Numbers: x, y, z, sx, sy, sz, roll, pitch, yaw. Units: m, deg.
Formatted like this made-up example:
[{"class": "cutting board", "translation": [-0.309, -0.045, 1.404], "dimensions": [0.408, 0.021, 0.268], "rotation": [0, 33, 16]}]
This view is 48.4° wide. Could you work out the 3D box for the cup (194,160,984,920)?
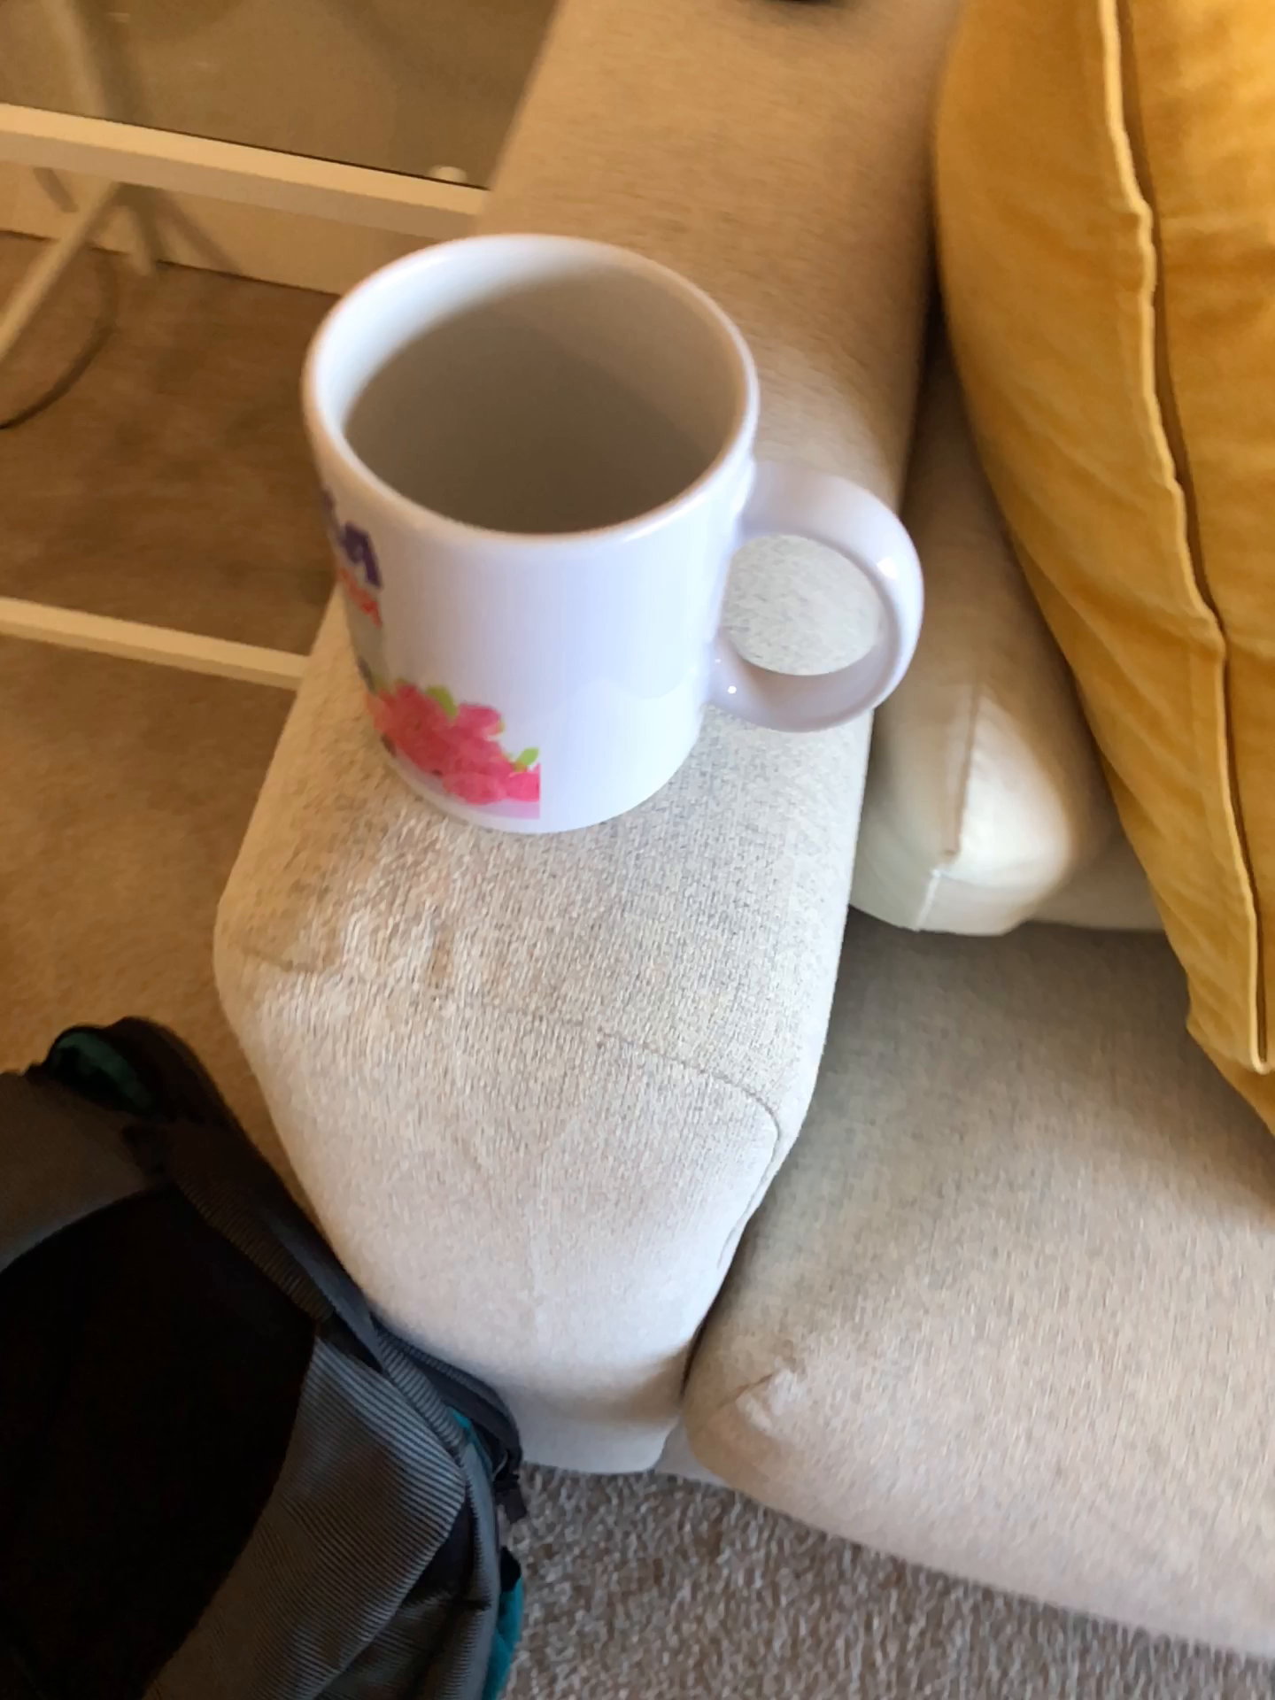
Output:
[{"class": "cup", "translation": [-0.007, -0.059, 0.290], "dimensions": [0.120, 0.100, 0.080], "rotation": [15, 59, 5]}]
